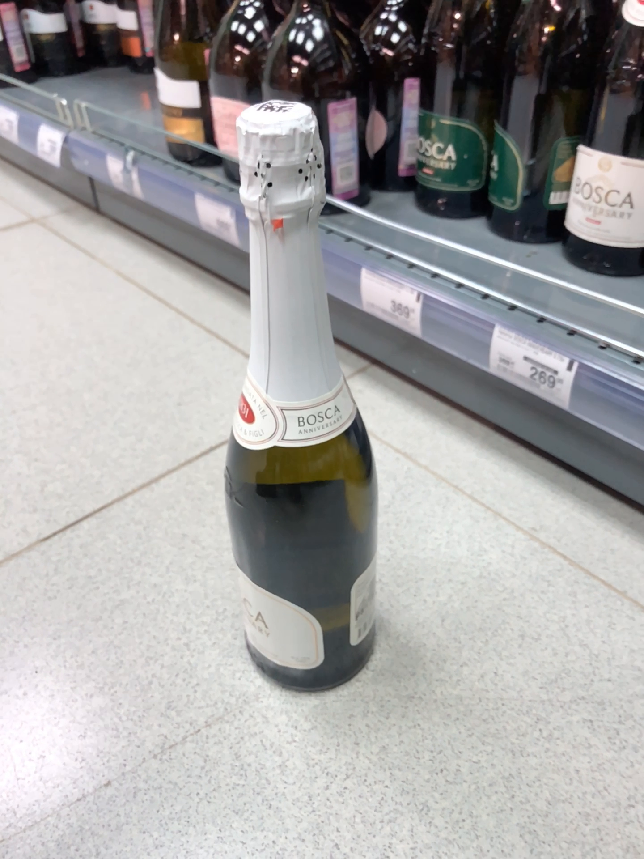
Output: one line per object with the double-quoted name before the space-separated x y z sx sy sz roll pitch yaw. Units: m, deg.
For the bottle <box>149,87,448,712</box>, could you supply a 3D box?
"bottle" -0.009 0.005 0.368 0.090 0.308 0.090 -1 37 1
